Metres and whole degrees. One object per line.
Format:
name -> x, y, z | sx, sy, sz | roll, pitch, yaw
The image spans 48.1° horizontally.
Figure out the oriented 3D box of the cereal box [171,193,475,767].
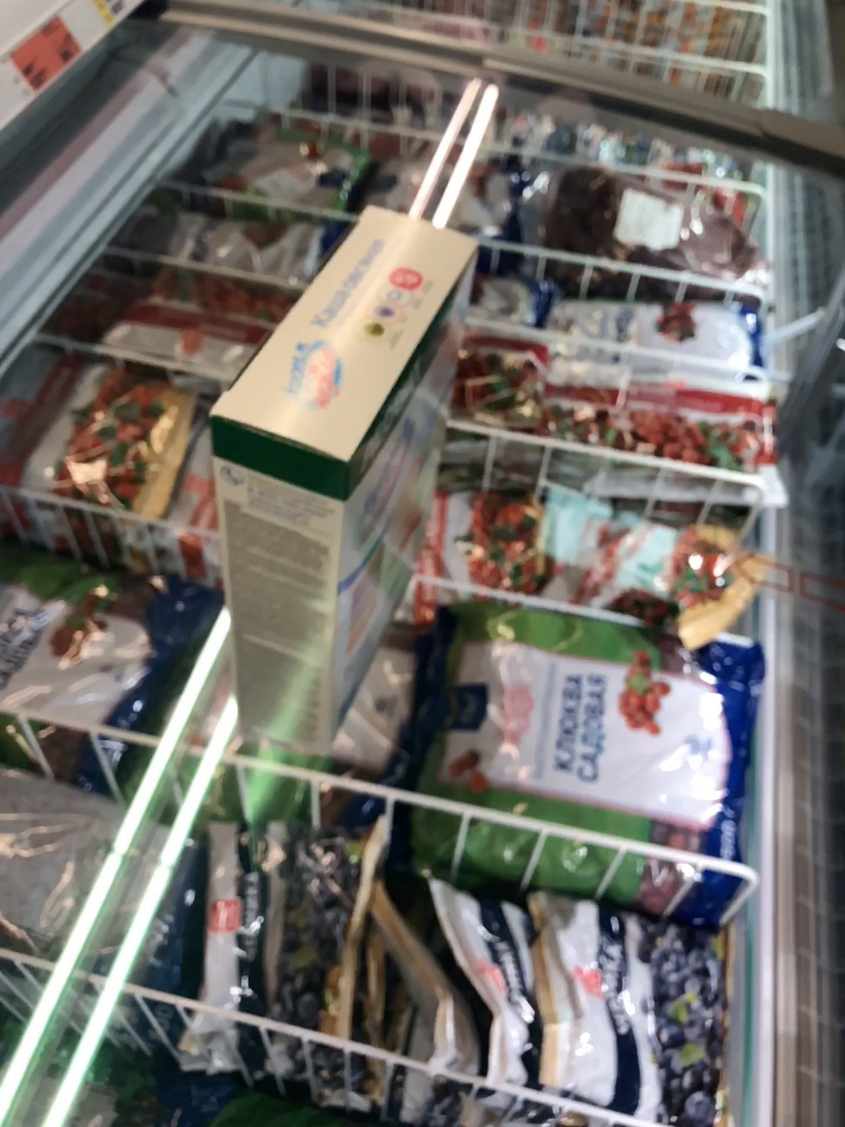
cereal box -> -0.045, -0.028, 0.452 | 0.060, 0.229, 0.151 | 20, 52, 7
